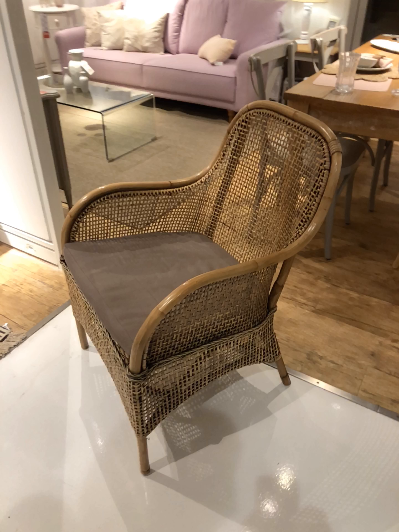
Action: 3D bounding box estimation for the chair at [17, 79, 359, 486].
[{"bbox_3d":[-0.046,0.018,1.299,0.622,0.903,0.543,-20,40,-27],"label":"chair"}]
